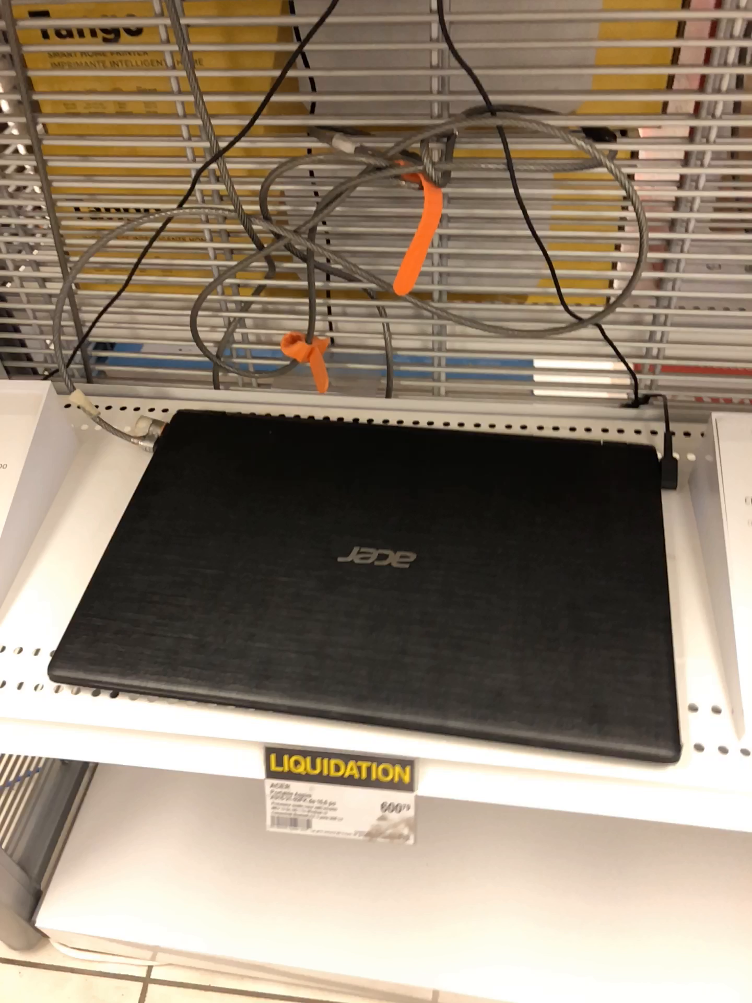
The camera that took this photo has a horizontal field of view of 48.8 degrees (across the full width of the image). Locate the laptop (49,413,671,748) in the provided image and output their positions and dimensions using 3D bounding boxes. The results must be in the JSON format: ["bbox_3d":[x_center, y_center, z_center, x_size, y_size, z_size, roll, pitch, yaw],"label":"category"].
[{"bbox_3d":[0.003,0.032,0.574,0.374,0.003,0.248,5,47,9],"label":"laptop"}]
